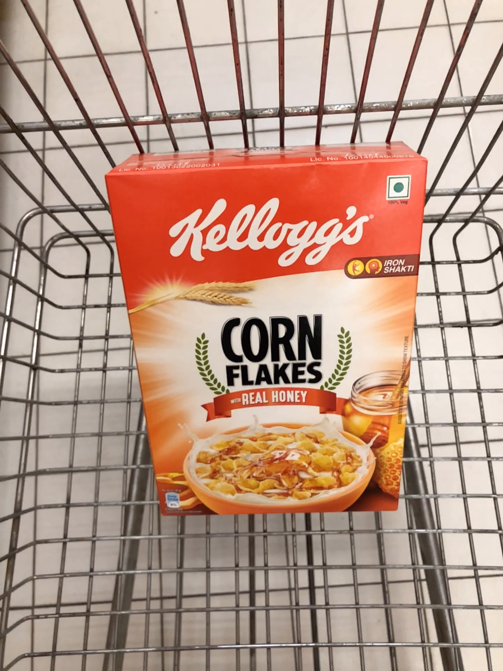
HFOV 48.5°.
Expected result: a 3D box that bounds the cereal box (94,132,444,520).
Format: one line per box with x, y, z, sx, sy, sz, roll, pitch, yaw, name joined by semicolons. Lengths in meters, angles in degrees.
0.016;0.002;0.397;0.190;0.080;0.259;-2;117;2;cereal box
